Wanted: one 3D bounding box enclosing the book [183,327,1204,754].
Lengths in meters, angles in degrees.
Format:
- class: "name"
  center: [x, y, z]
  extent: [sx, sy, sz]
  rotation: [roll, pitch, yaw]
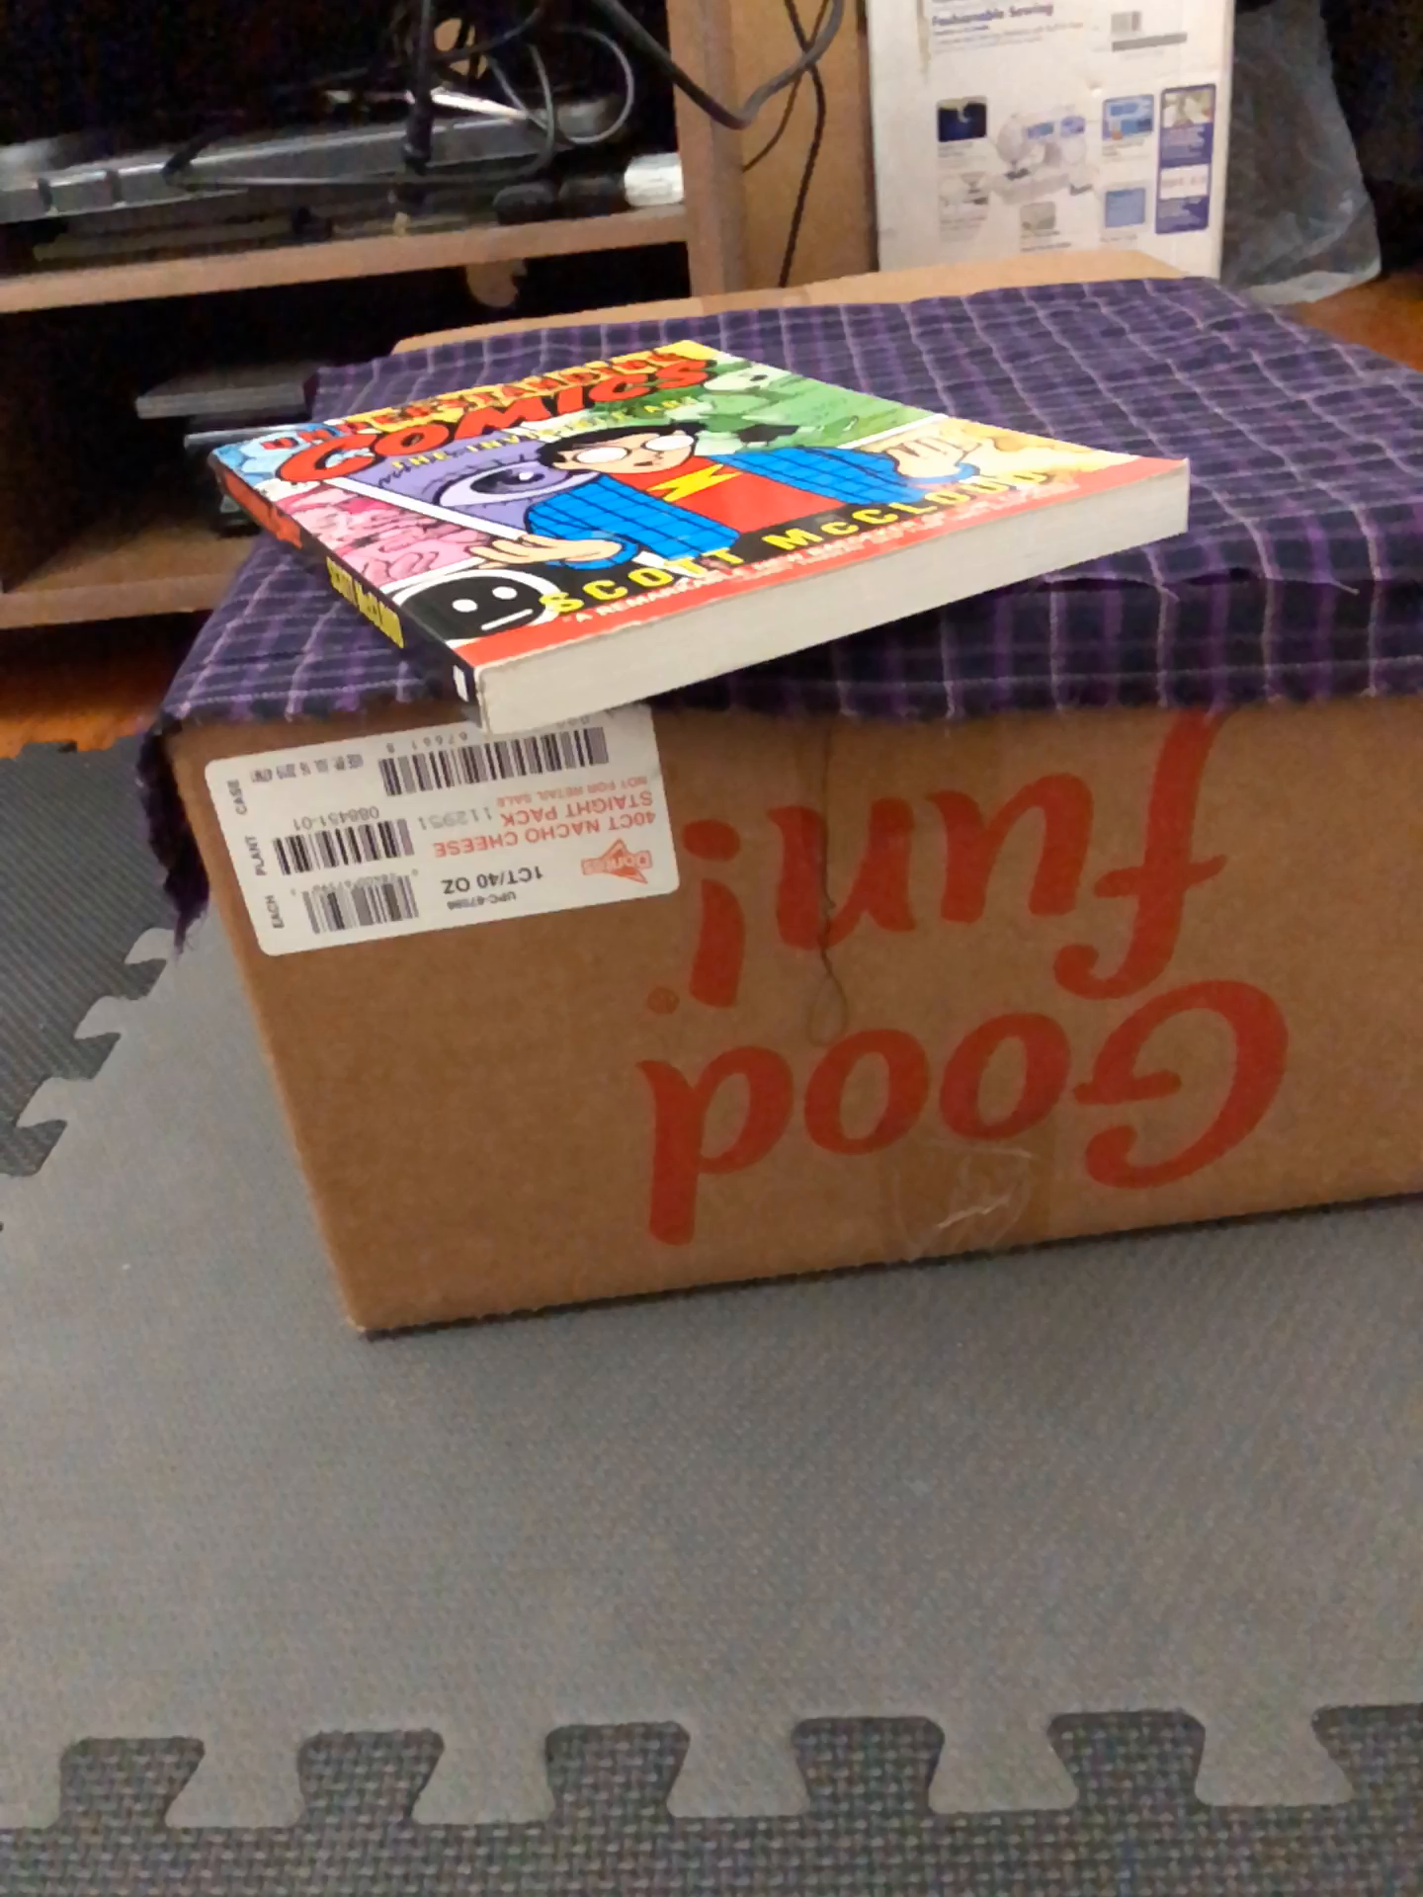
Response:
- class: "book"
  center: [-0.029, -0.127, 0.420]
  extent: [0.170, 0.020, 0.271]
  rotation: [-20, 33, -20]
